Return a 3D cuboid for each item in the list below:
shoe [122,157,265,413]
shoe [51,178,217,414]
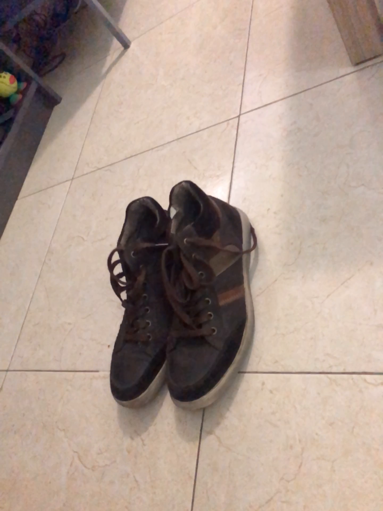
[{"bbox_3d":[0.016,0.037,0.550,0.120,0.109,0.300,-14,55,32],"label":"shoe"},{"bbox_3d":[-0.071,0.053,0.608,0.120,0.109,0.300,-5,60,37],"label":"shoe"}]
